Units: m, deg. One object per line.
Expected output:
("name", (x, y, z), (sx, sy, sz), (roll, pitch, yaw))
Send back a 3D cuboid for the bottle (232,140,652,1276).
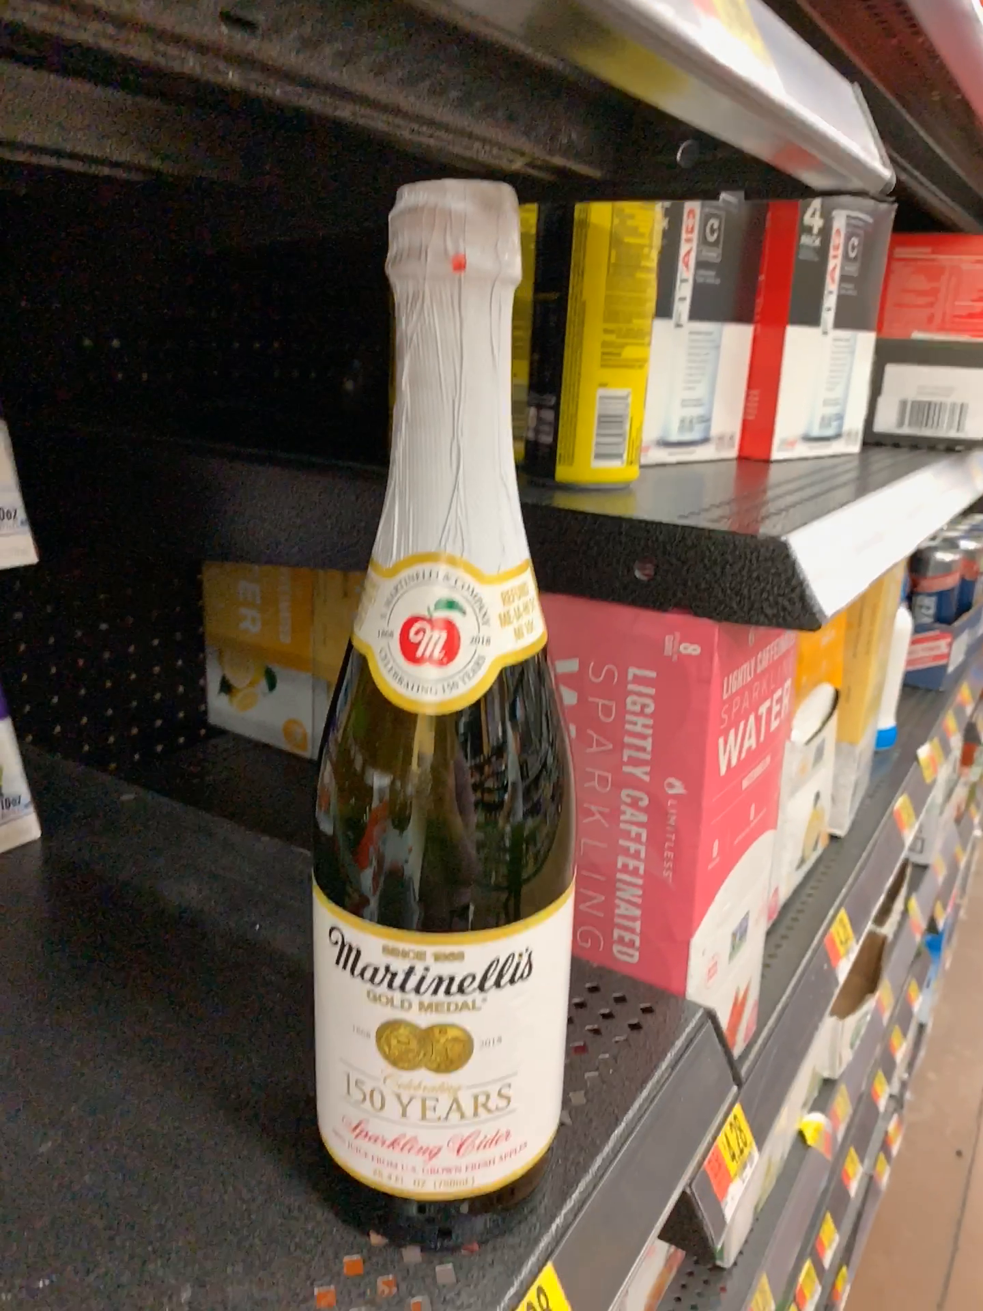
("bottle", (-0.014, 0.022, 0.301), (0.089, 0.299, 0.090), (3, 18, -1))
